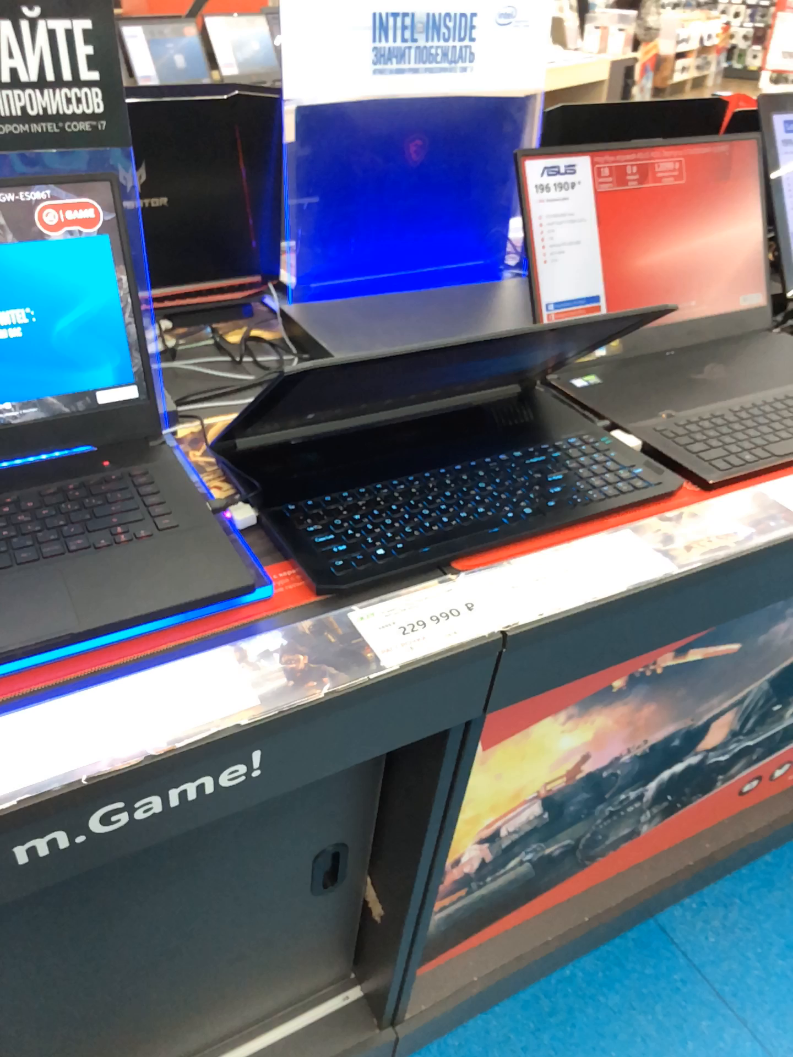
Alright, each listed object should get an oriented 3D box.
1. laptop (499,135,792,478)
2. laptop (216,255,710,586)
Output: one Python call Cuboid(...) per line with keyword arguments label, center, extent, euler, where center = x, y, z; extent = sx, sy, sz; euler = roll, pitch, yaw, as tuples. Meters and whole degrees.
Cuboid(label="laptop", center=(0.388, -0.282, 0.997), extent=(0.372, 0.235, 0.364), euler=(-15, 37, -25))
Cuboid(label="laptop", center=(0.055, -0.122, 0.805), extent=(0.370, 0.152, 0.227), euler=(-15, 38, -25))
